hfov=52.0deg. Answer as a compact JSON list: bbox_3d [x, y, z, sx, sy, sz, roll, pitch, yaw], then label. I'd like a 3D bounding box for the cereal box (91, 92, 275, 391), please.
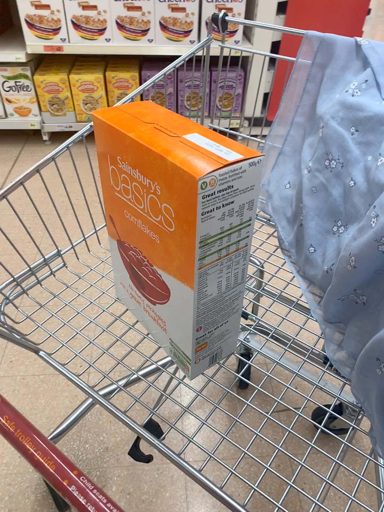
[{"bbox_3d":[-0.025,-0.016,0.500,0.080,0.307,0.211,-24,44,-30],"label":"cereal box"}]
